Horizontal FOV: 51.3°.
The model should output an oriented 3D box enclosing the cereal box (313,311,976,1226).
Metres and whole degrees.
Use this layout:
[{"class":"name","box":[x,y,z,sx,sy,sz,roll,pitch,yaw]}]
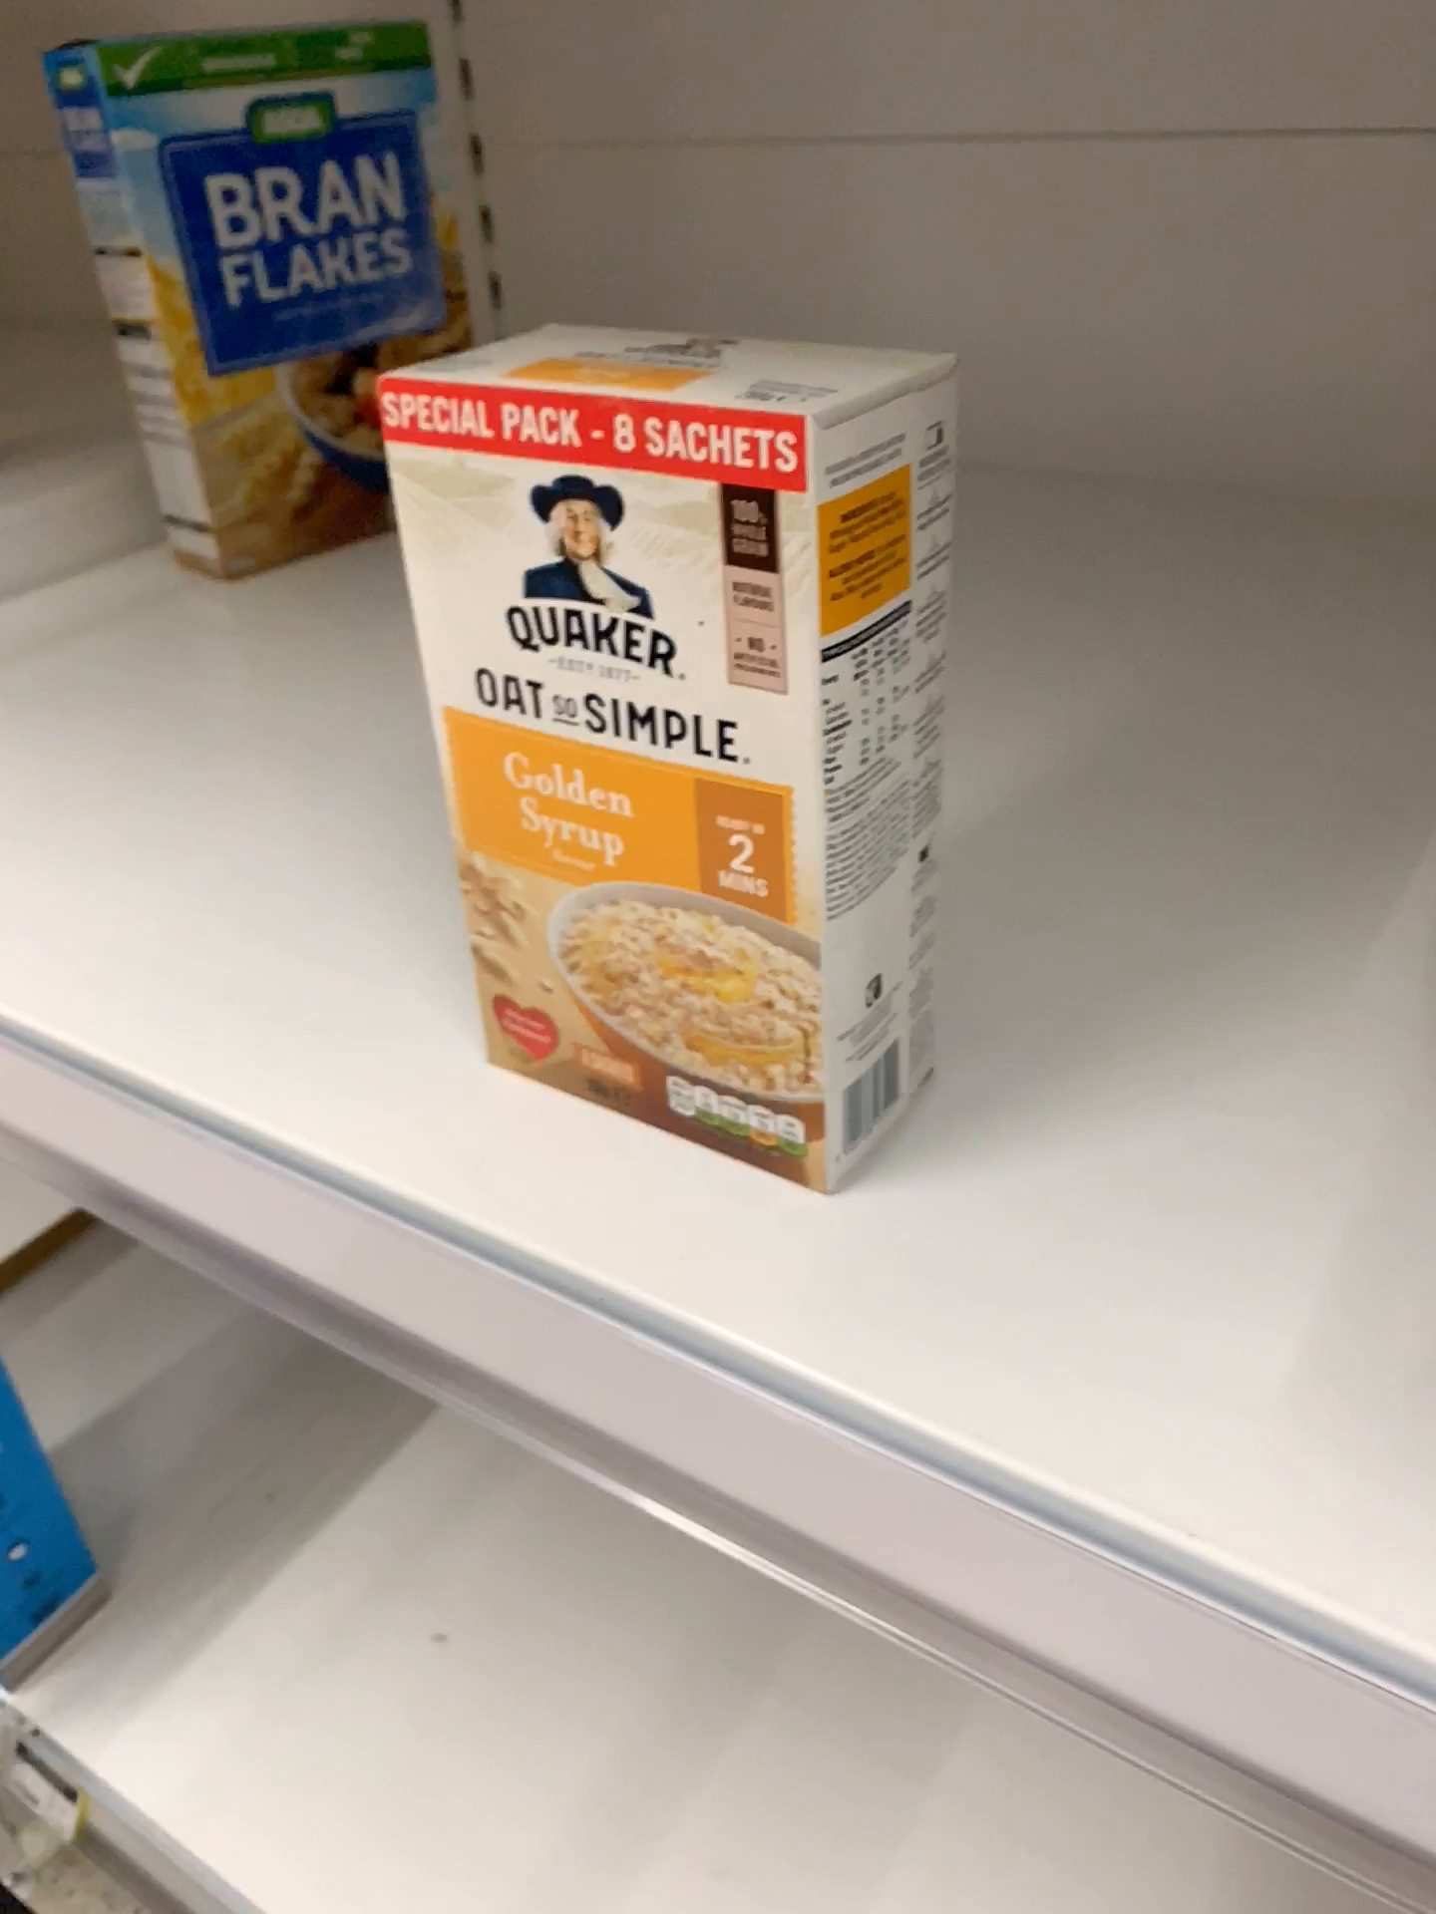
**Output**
[{"class":"cereal box","box":[-0.015,-0.053,0.400,0.140,0.208,0.070,17,36,30]}]
